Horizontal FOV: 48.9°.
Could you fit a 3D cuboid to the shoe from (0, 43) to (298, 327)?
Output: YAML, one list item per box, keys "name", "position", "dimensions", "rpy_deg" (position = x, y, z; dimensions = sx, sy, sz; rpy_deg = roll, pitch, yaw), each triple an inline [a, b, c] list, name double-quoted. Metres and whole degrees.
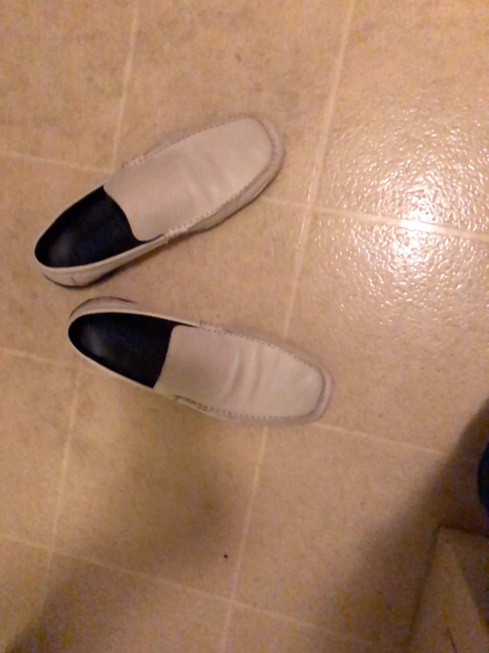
- name: "shoe"
  position: [-0.110, -0.127, 0.545]
  dimensions: [0.306, 0.097, 0.110]
  rpy_deg: [-30, 89, 11]

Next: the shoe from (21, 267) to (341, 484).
- name: "shoe"
  position: [-0.059, 0.039, 0.549]
  dimensions: [0.289, 0.097, 0.110]
  rpy_deg: [20, 98, 8]
